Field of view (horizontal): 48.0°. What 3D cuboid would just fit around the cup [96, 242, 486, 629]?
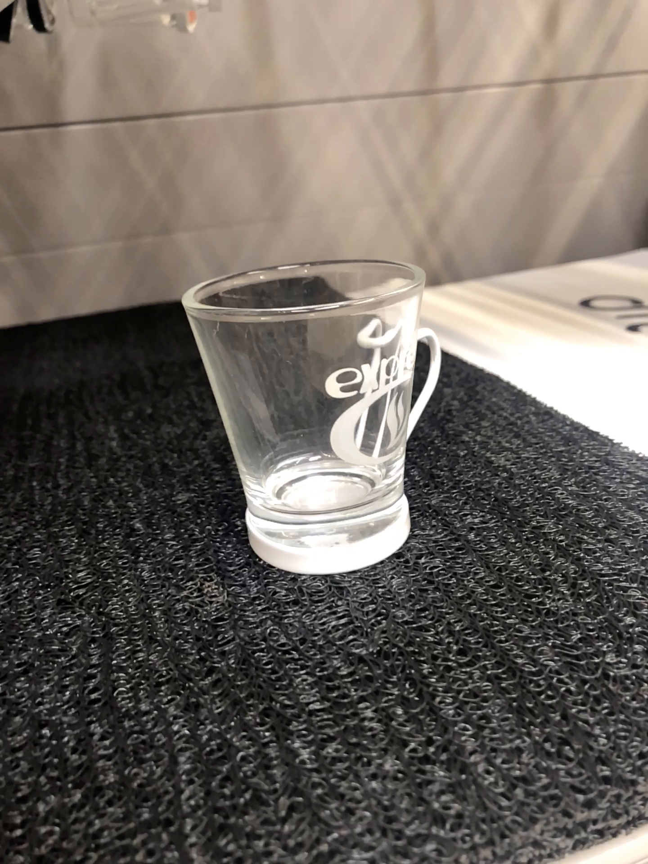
[{"bbox_3d":[-0.001,-0.009,0.194,0.059,0.063,0.093,10,27,26],"label":"cup"}]
